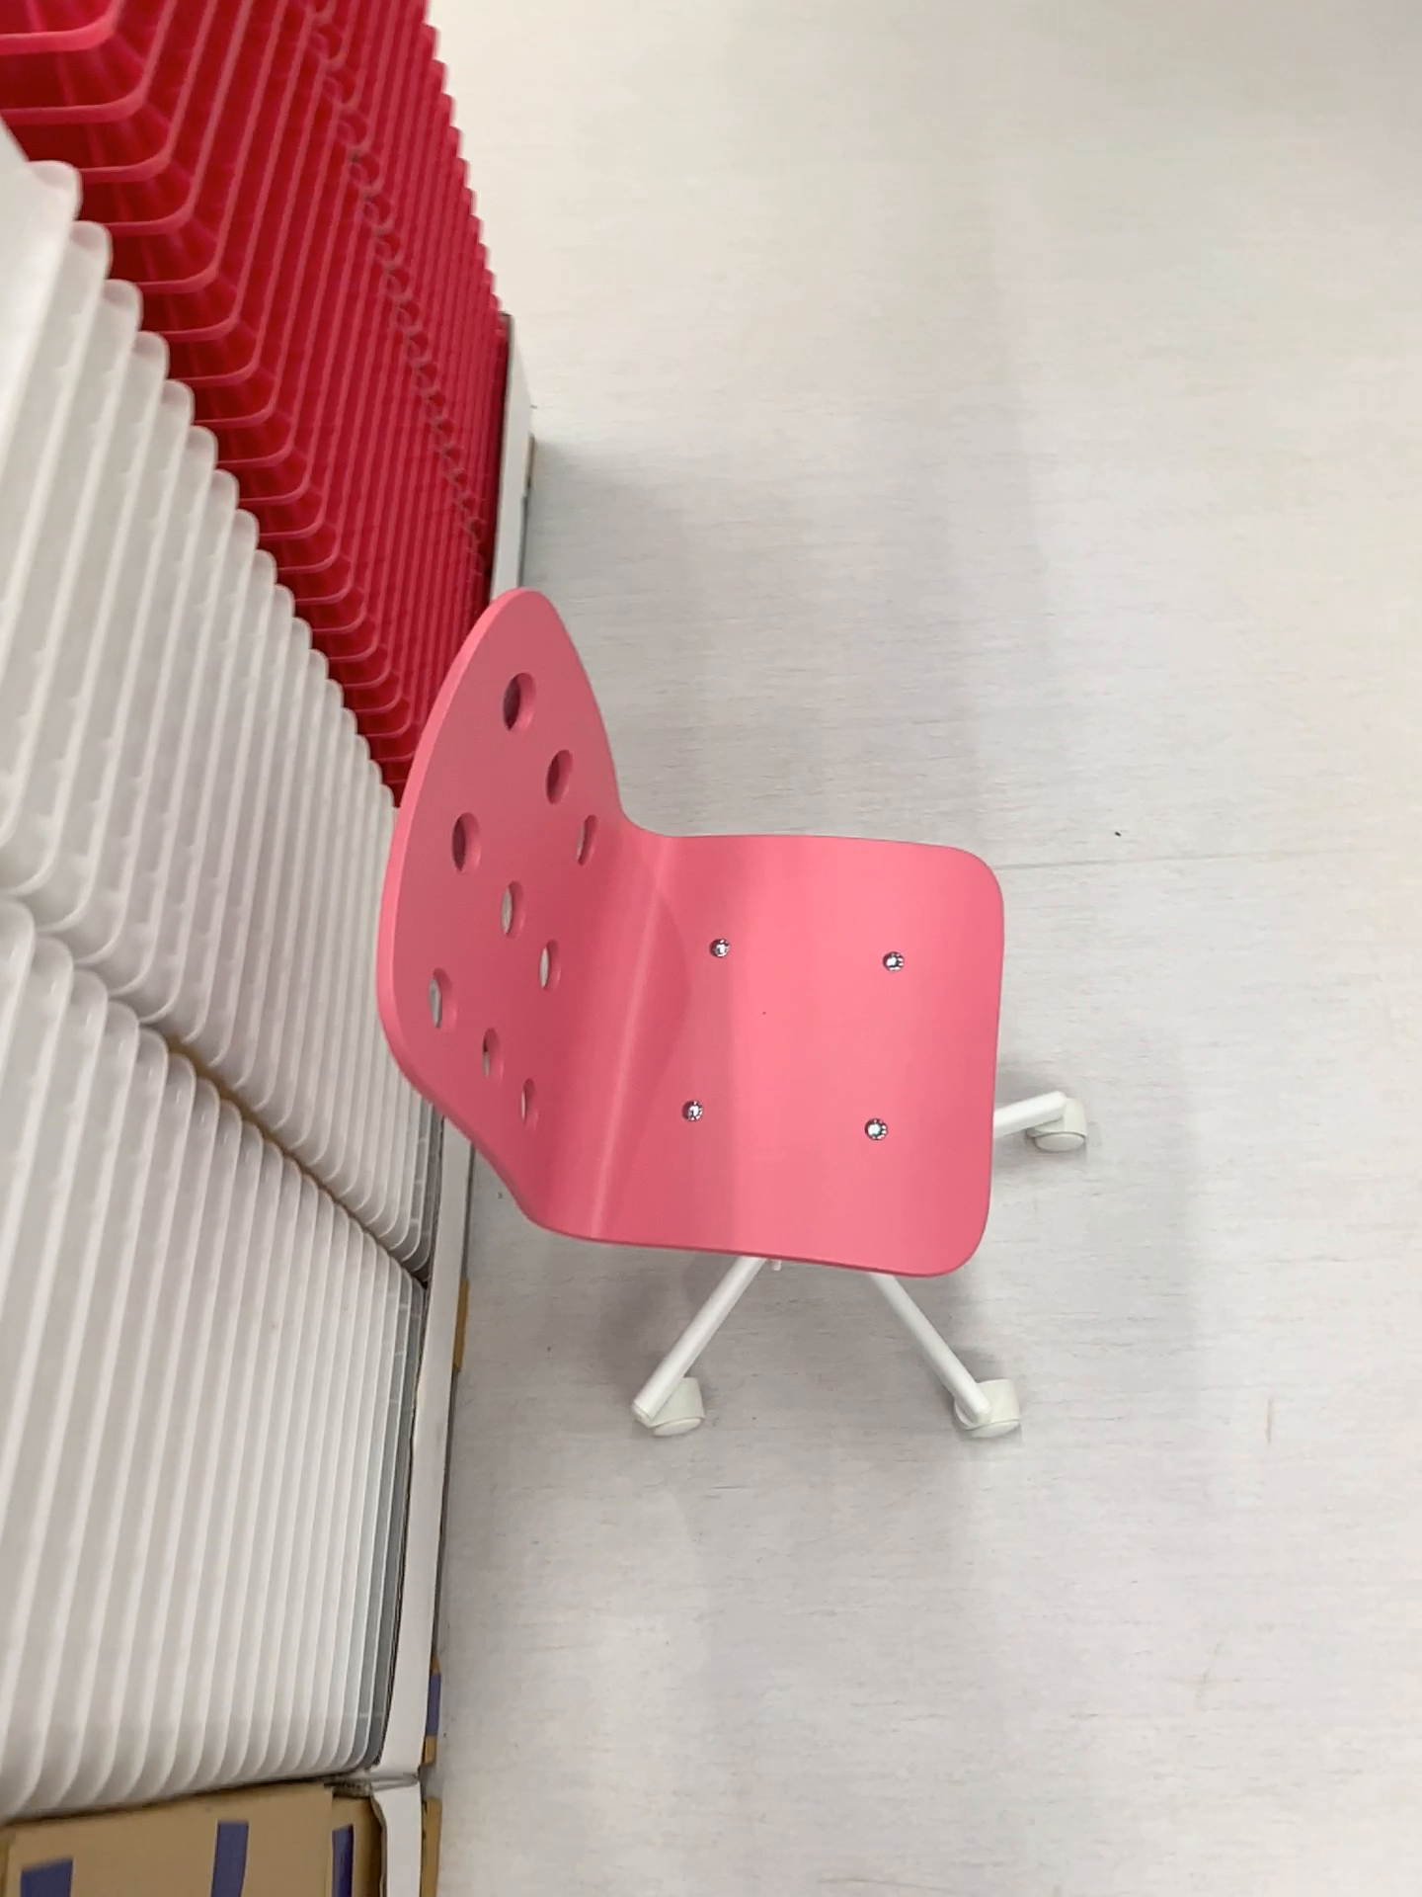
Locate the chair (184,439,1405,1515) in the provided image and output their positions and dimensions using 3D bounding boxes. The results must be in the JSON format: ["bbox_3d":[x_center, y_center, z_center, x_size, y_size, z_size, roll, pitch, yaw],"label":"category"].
[{"bbox_3d":[0.079,0.080,1.124,0.580,0.709,0.551,3,63,6],"label":"chair"}]
